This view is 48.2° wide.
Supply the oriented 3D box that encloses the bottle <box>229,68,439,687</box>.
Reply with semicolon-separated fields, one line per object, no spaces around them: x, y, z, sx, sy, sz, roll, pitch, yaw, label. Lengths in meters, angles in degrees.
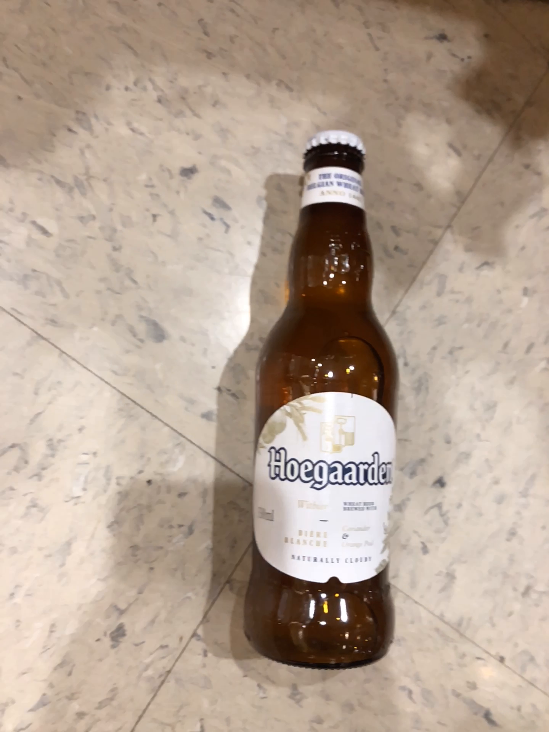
0.025;0.002;0.261;0.070;0.050;0.230;4;83;-17;bottle
